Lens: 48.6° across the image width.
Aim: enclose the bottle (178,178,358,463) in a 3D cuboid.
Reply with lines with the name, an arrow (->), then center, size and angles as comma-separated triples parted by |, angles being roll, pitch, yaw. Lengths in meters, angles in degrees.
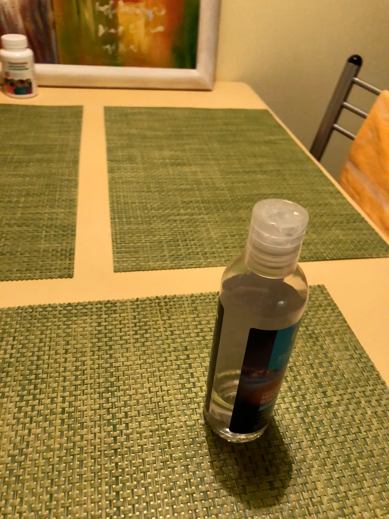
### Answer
bottle -> 0.033, 0.040, 0.240 | 0.054, 0.149, 0.051 | 4, 37, -3
